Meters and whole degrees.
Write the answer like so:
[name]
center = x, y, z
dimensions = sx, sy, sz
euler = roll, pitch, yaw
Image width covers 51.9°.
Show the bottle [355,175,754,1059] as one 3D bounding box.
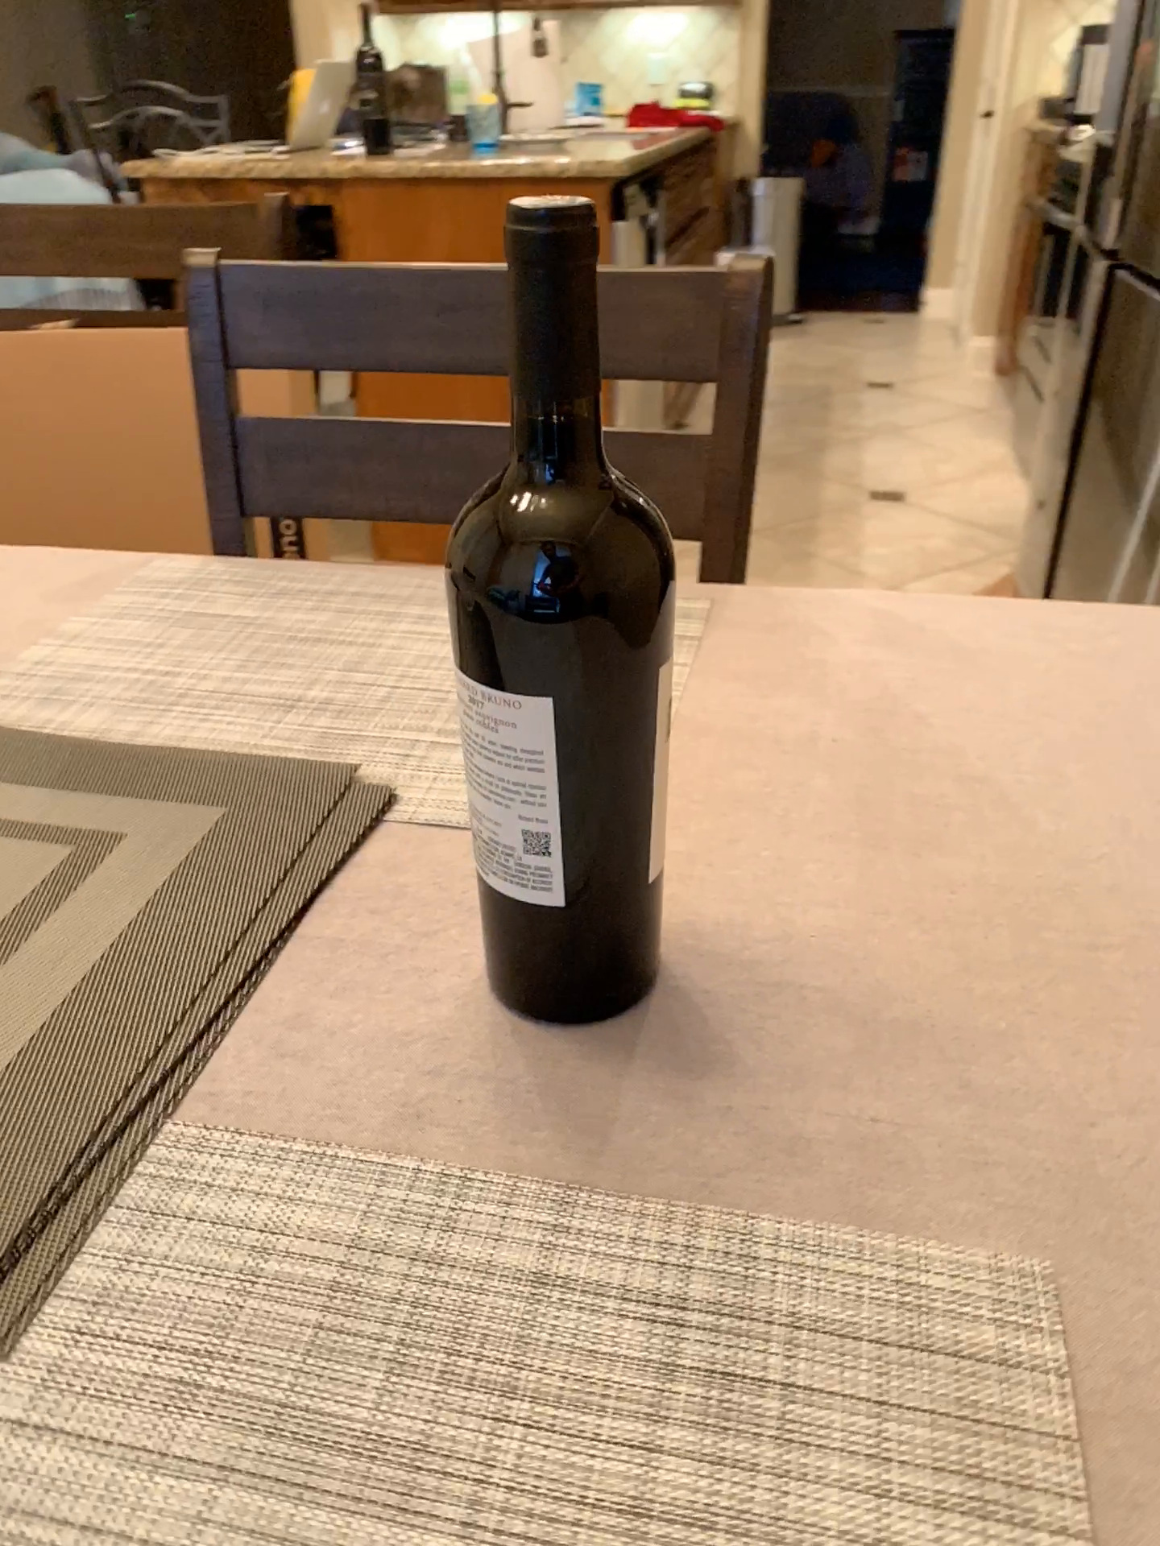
[bottle]
center = -0.005, -0.050, 0.440
dimensions = 0.084, 0.298, 0.090
euler = -1, 30, 0
